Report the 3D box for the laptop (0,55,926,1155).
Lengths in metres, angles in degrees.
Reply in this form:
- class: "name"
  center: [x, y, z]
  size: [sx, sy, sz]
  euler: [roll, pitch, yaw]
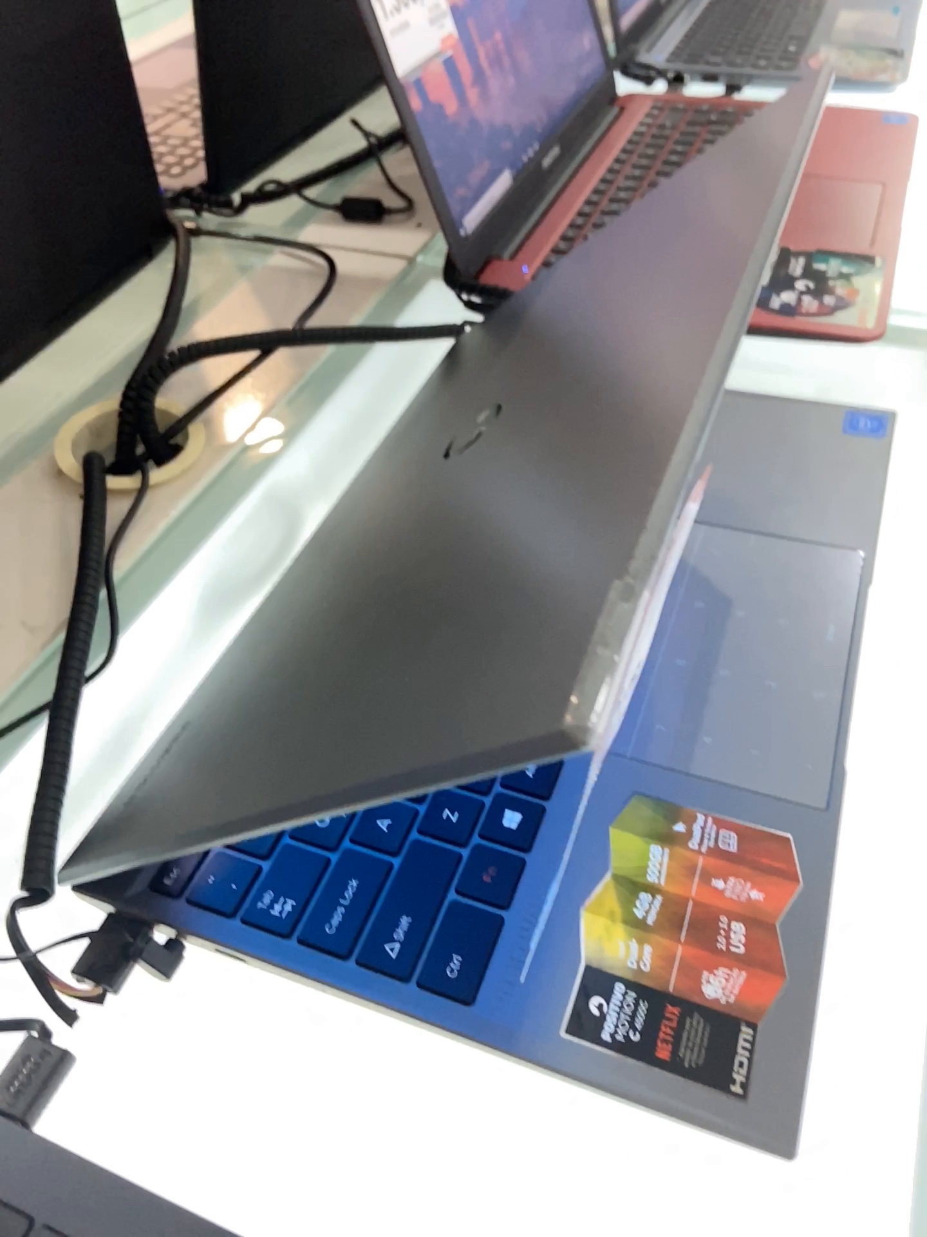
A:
- class: "laptop"
  center: [0.033, -0.055, 0.318]
  size: [0.210, 0.139, 0.329]
  euler: [13, 47, 17]
